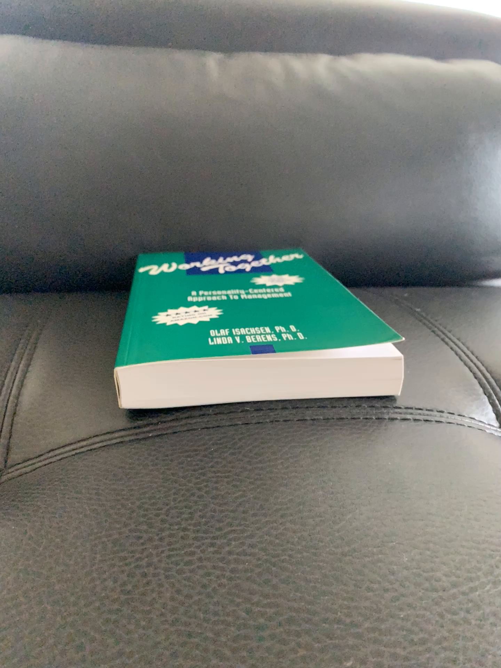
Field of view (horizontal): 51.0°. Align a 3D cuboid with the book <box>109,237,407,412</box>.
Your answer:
[{"bbox_3d":[-0.009,-0.022,0.344,0.137,0.033,0.218,-1,23,-8],"label":"book"}]
